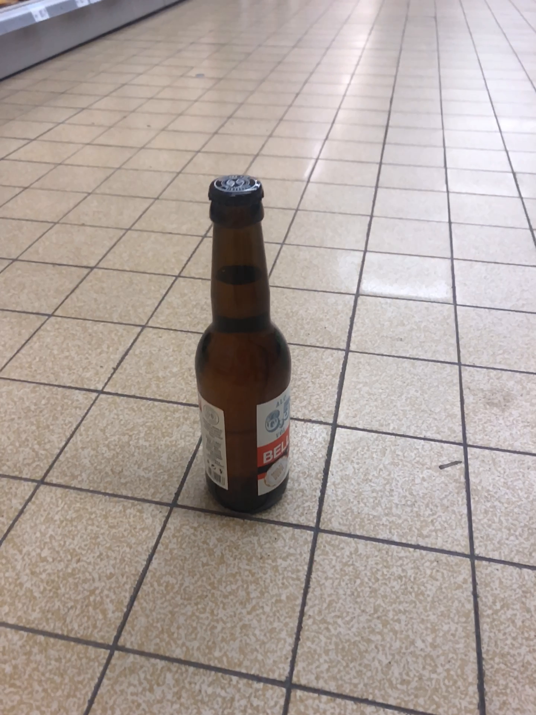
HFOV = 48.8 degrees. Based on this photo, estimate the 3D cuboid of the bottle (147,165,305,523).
[{"bbox_3d":[-0.017,0.005,0.352,0.070,0.219,0.060,-1,37,-1],"label":"bottle"}]
